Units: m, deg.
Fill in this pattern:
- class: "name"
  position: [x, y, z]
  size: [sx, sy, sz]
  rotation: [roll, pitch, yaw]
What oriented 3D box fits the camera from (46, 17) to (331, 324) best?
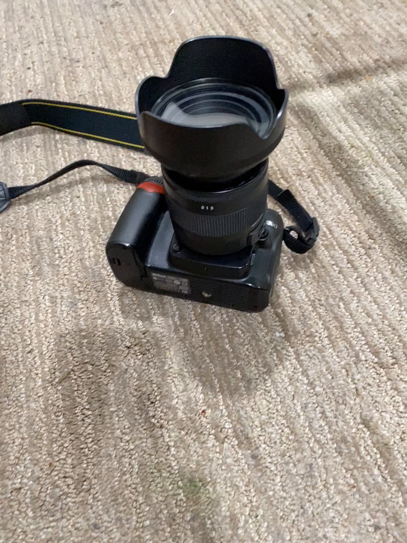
- class: "camera"
  position: [0.000, -0.066, 0.306]
  size: [0.138, 0.165, 0.114]
  rotation: [11, 54, 9]
